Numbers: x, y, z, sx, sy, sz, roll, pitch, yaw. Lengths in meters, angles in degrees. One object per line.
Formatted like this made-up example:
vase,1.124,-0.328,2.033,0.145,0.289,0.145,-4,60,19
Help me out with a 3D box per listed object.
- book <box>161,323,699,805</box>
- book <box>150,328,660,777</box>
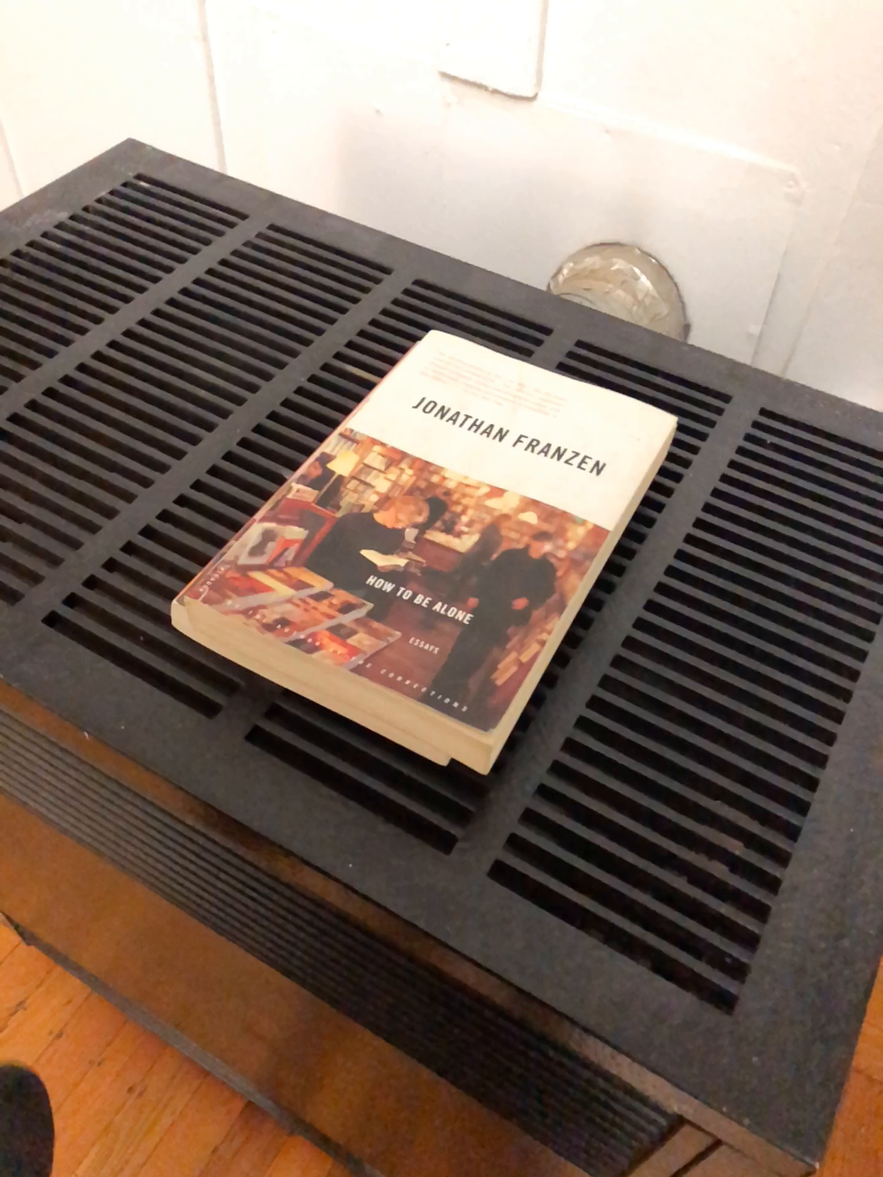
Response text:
book,0.006,-0.028,0.428,0.150,0.030,0.211,23,52,15
book,-0.006,-0.033,0.455,0.150,0.030,0.211,23,52,15
